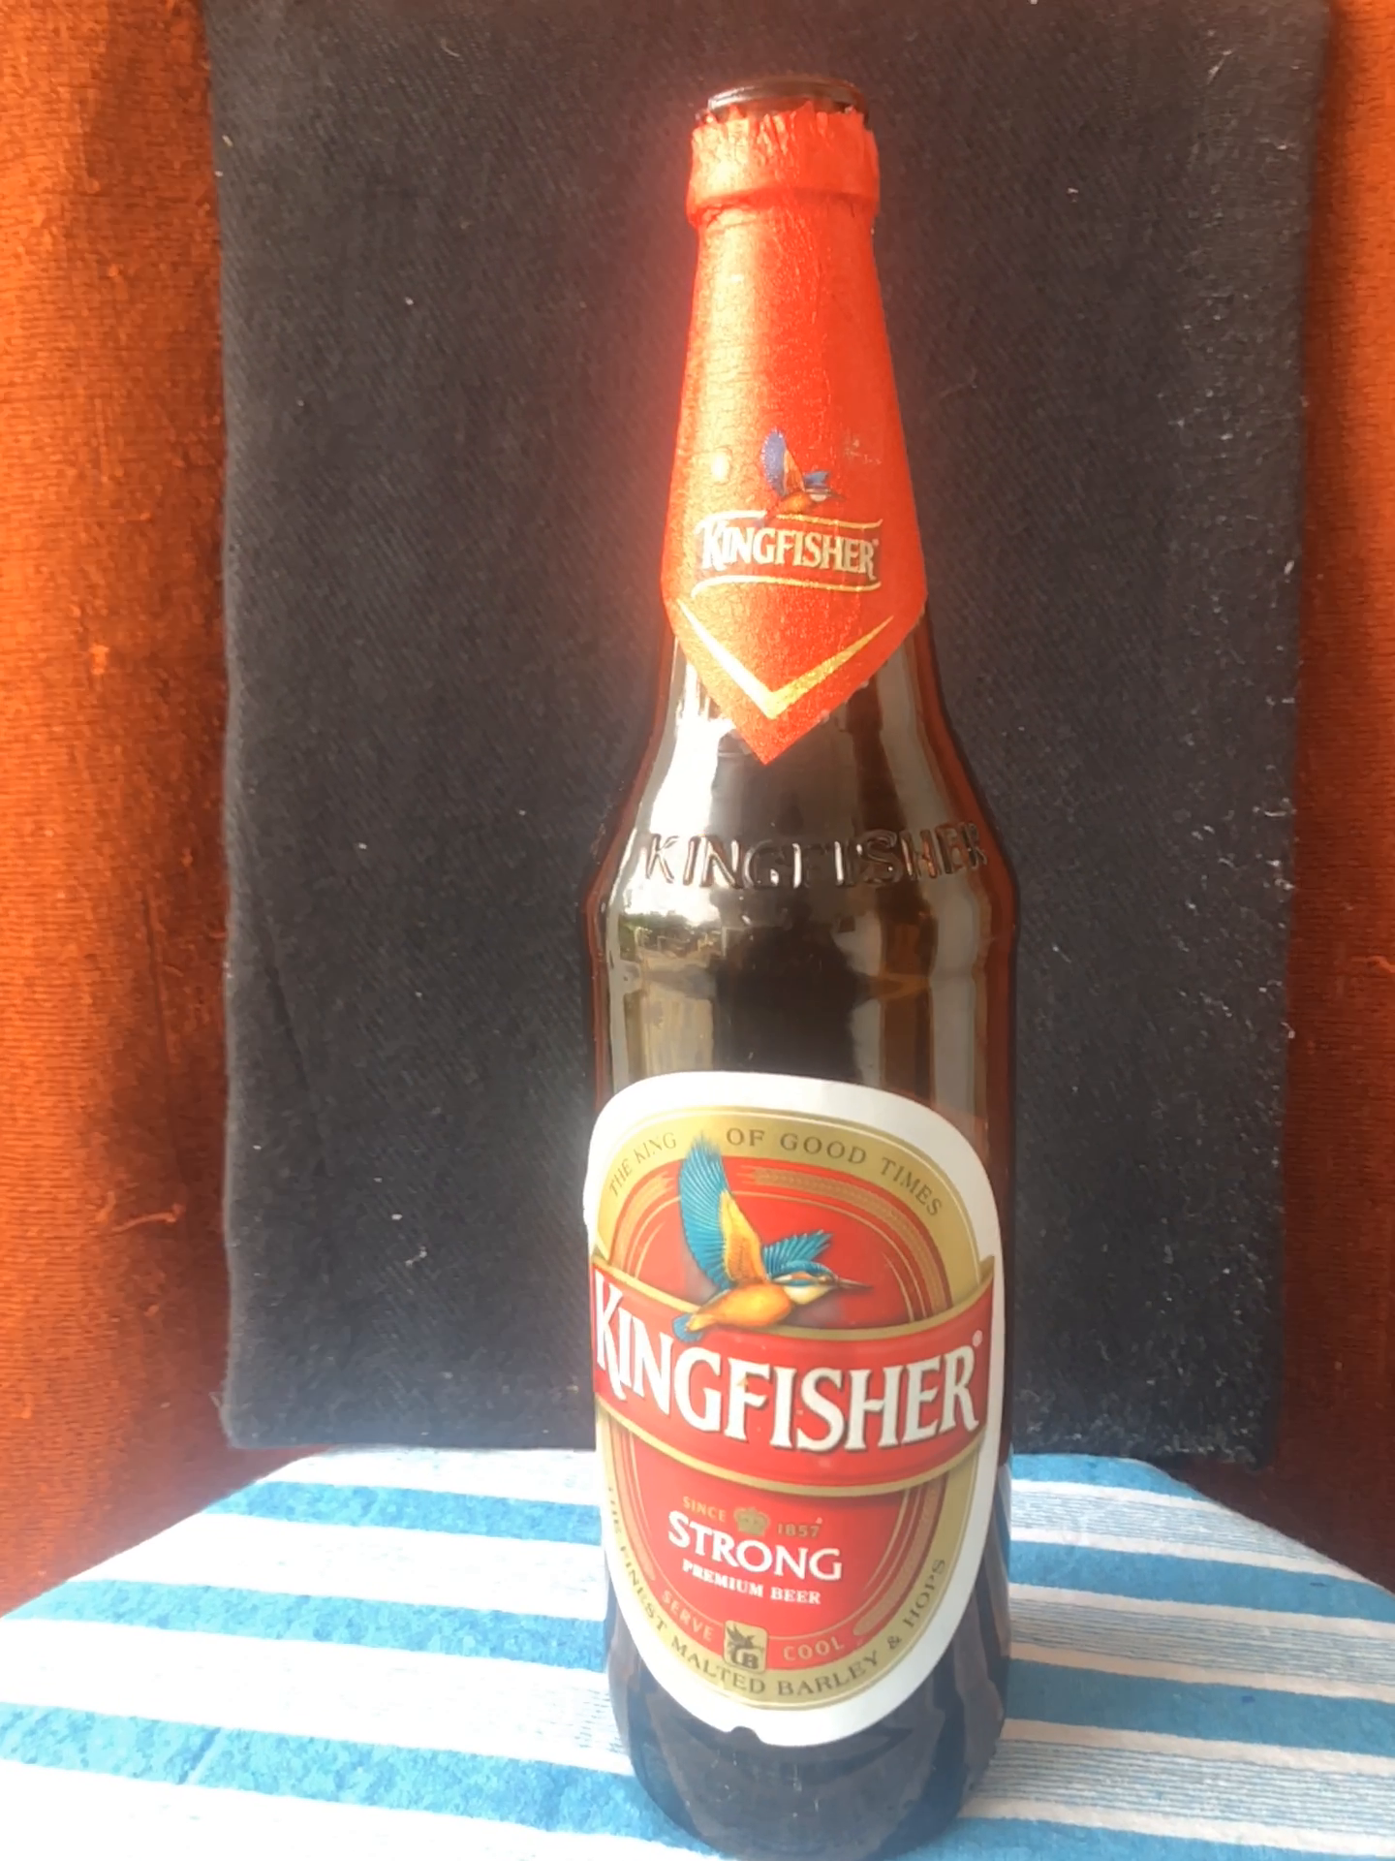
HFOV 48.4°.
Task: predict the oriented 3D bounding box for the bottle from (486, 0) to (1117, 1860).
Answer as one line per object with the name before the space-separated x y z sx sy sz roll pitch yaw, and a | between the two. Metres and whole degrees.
bottle | 0.019 0.009 0.259 0.080 0.289 0.070 4 13 14
